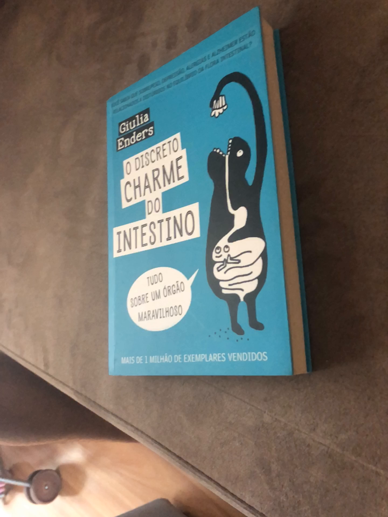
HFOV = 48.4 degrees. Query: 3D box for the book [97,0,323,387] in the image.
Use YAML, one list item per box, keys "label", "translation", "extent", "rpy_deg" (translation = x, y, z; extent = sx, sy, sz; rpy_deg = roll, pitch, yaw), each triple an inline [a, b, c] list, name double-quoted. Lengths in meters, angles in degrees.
- label: "book"
  translation: [-0.002, -0.036, 0.272]
  extent: [0.141, 0.030, 0.220]
  rpy_deg: [-12, 74, 38]
